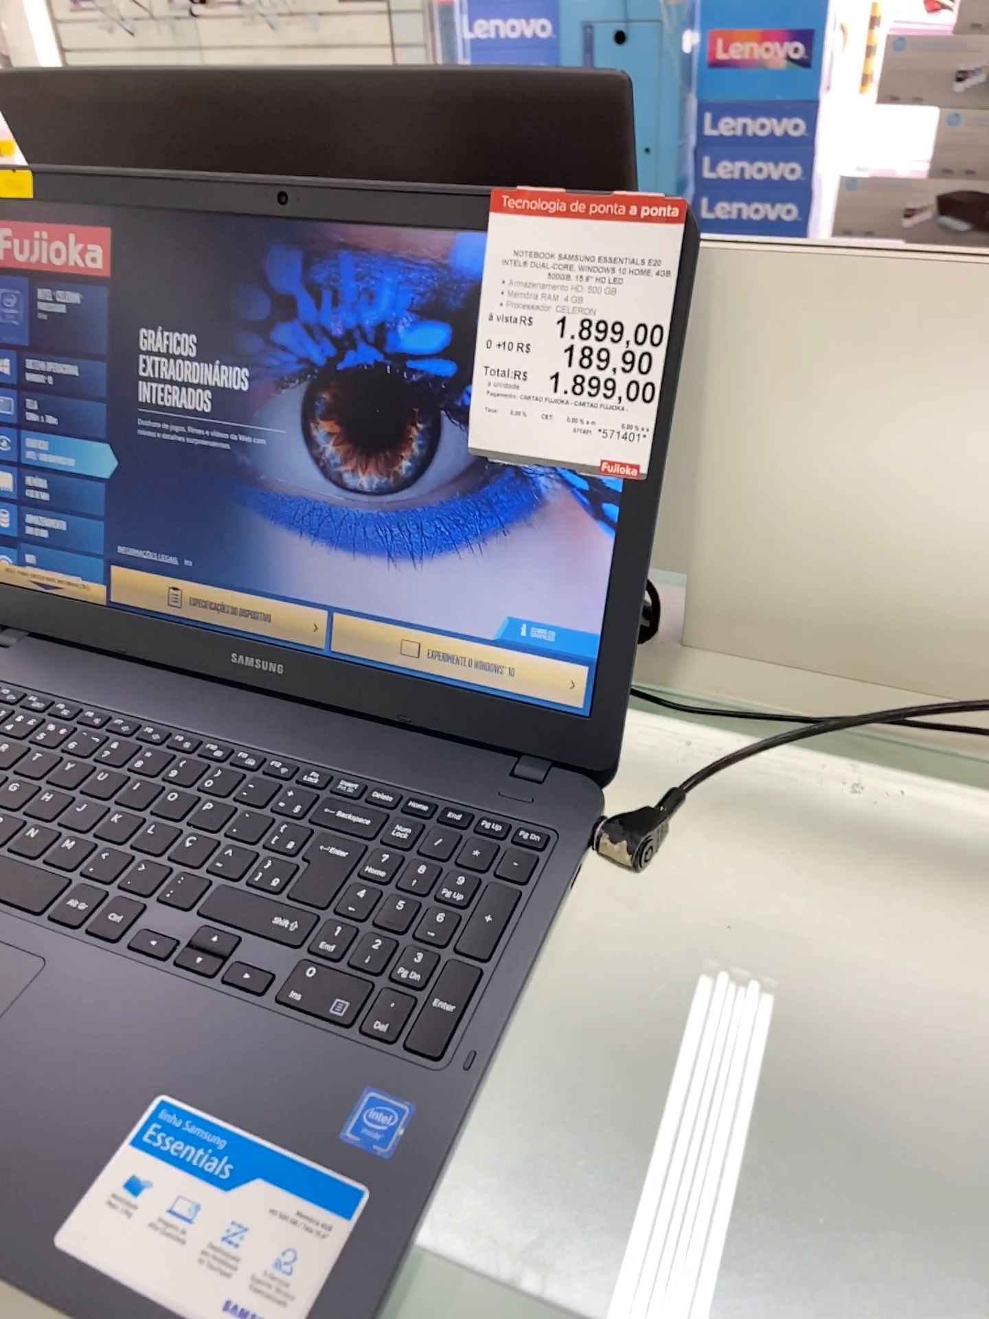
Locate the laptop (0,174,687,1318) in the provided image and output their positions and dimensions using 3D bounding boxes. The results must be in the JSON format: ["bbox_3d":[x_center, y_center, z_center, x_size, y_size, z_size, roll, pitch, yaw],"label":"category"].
[{"bbox_3d":[-0.155,-0.027,0.387,0.366,0.207,0.348,12,40,21],"label":"laptop"}]
